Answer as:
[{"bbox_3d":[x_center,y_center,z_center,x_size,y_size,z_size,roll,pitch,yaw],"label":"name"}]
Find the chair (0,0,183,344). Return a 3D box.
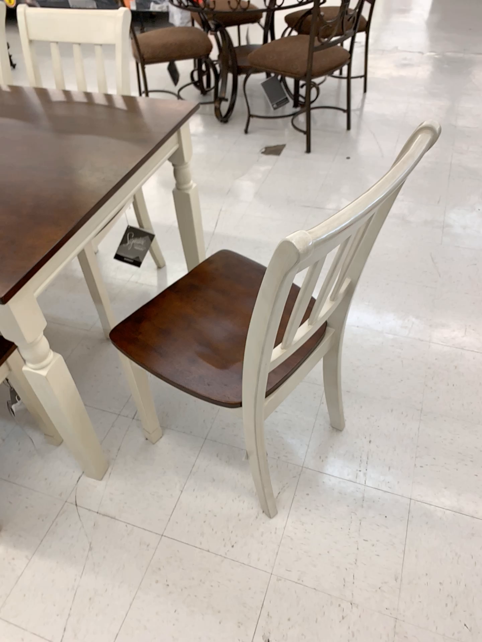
[{"bbox_3d":[-0.599,-0.500,1.715,0.464,0.932,0.606,12,47,16],"label":"chair"}]

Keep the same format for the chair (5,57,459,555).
[{"bbox_3d":[0.012,-0.016,1.177,0.595,0.903,0.525,27,53,27],"label":"chair"}]

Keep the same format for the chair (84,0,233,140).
[{"bbox_3d":[-0.434,-1.653,2.817,0.604,0.972,0.476,-14,46,-10],"label":"chair"}]

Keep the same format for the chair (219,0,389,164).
[{"bbox_3d":[0.302,-1.453,2.571,0.606,0.982,0.465,34,56,32],"label":"chair"}]
